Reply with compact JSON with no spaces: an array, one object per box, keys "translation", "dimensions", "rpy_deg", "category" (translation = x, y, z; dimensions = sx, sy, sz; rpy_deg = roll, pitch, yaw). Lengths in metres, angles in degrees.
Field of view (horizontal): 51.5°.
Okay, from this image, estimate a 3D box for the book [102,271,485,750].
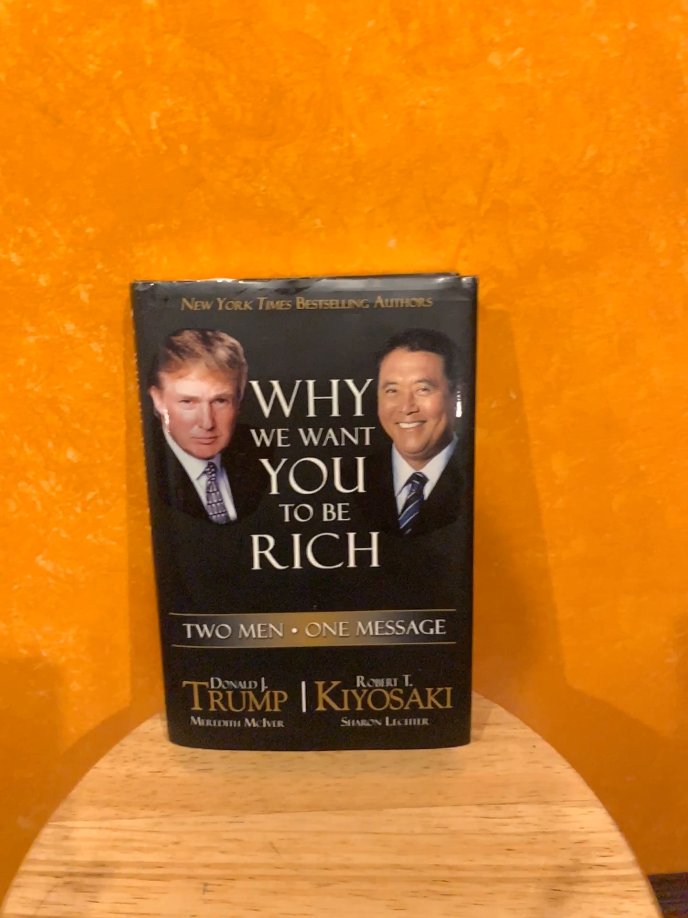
[{"translation":[-0.018,0.025,0.324],"dimensions":[0.151,0.210,0.044],"rpy_deg":[-1,13,2],"category":"book"}]
